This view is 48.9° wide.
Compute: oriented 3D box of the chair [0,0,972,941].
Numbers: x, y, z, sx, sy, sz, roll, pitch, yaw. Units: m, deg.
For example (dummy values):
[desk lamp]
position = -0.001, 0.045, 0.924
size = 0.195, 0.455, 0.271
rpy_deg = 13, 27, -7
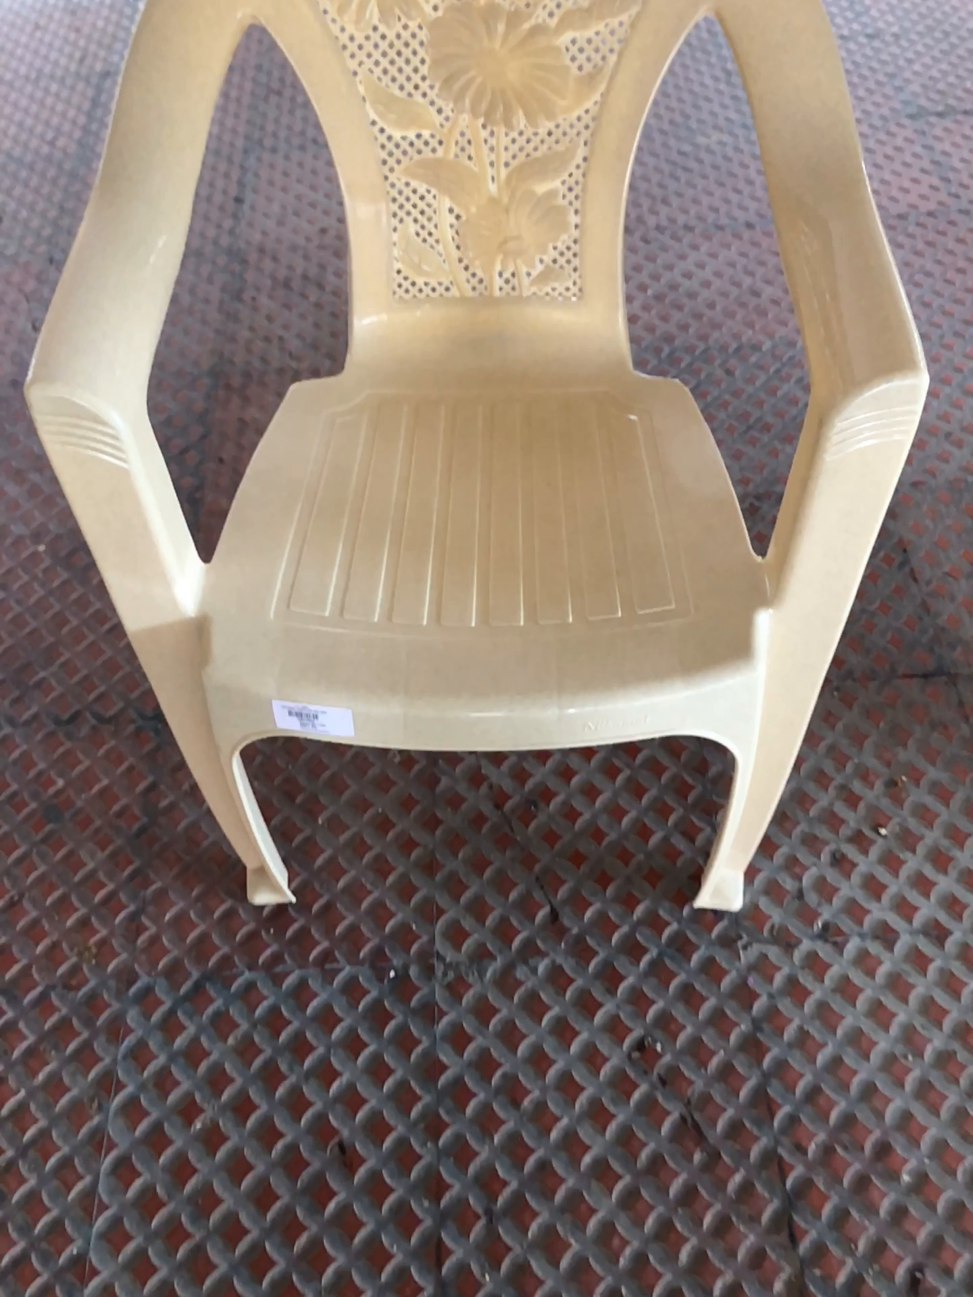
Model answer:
[chair]
position = -0.015, -0.193, 0.929
size = 0.530, 0.805, 0.614
rpy_deg = -1, 54, 1
